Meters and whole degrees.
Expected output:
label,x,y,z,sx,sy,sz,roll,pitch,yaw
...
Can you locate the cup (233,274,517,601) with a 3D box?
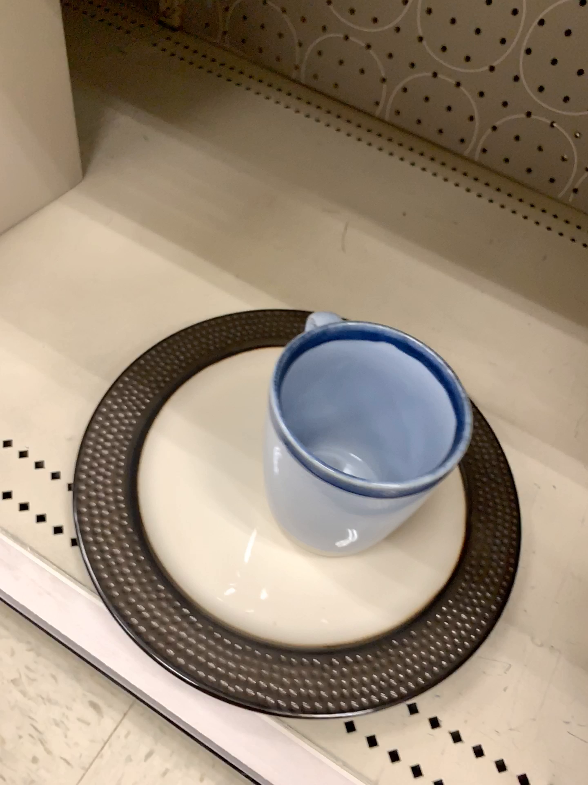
label,x,y,z,sx,sy,sz,roll,pitch,yaw
cup,0.028,0.021,0.317,0.093,0.094,0.128,-6,55,-14
